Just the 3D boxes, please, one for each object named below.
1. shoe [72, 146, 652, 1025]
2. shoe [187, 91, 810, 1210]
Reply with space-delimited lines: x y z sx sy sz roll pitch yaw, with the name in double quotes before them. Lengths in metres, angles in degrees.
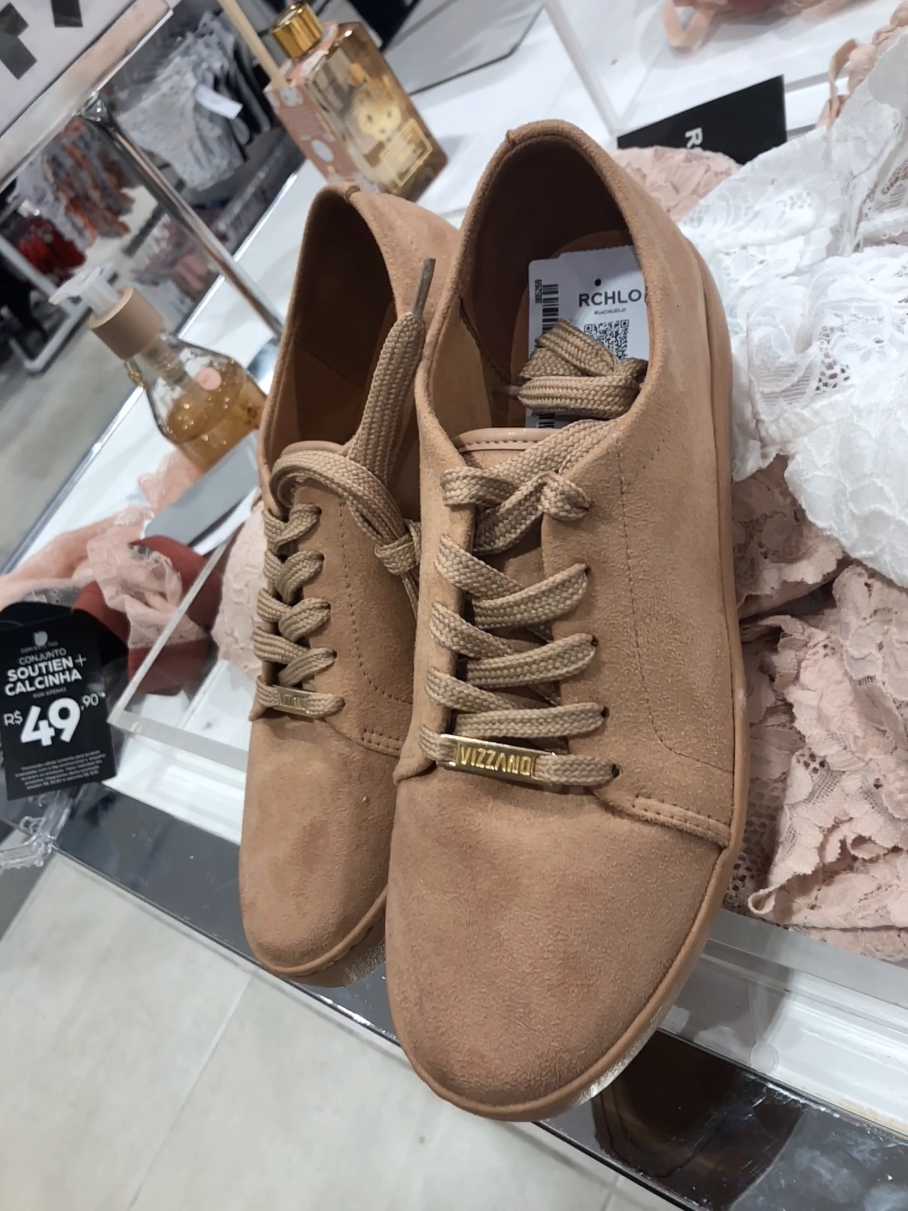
"shoe" -0.023 -0.003 0.330 0.090 0.099 0.240 5 77 42
"shoe" 0.029 0.010 0.259 0.090 0.099 0.240 4 72 25
